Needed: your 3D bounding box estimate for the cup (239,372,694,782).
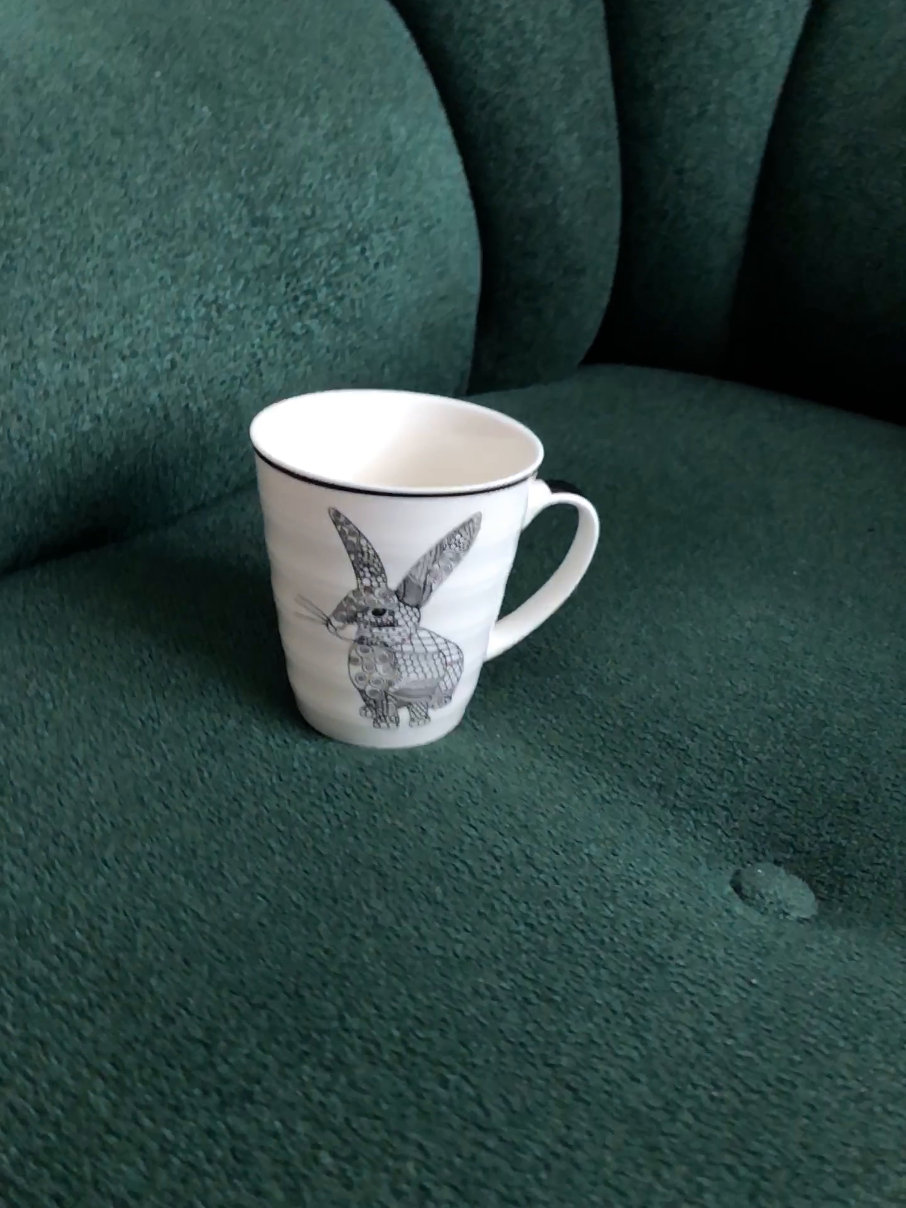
[{"bbox_3d":[-0.005,-0.016,0.339,0.120,0.095,0.096,-5,32,-18],"label":"cup"}]
